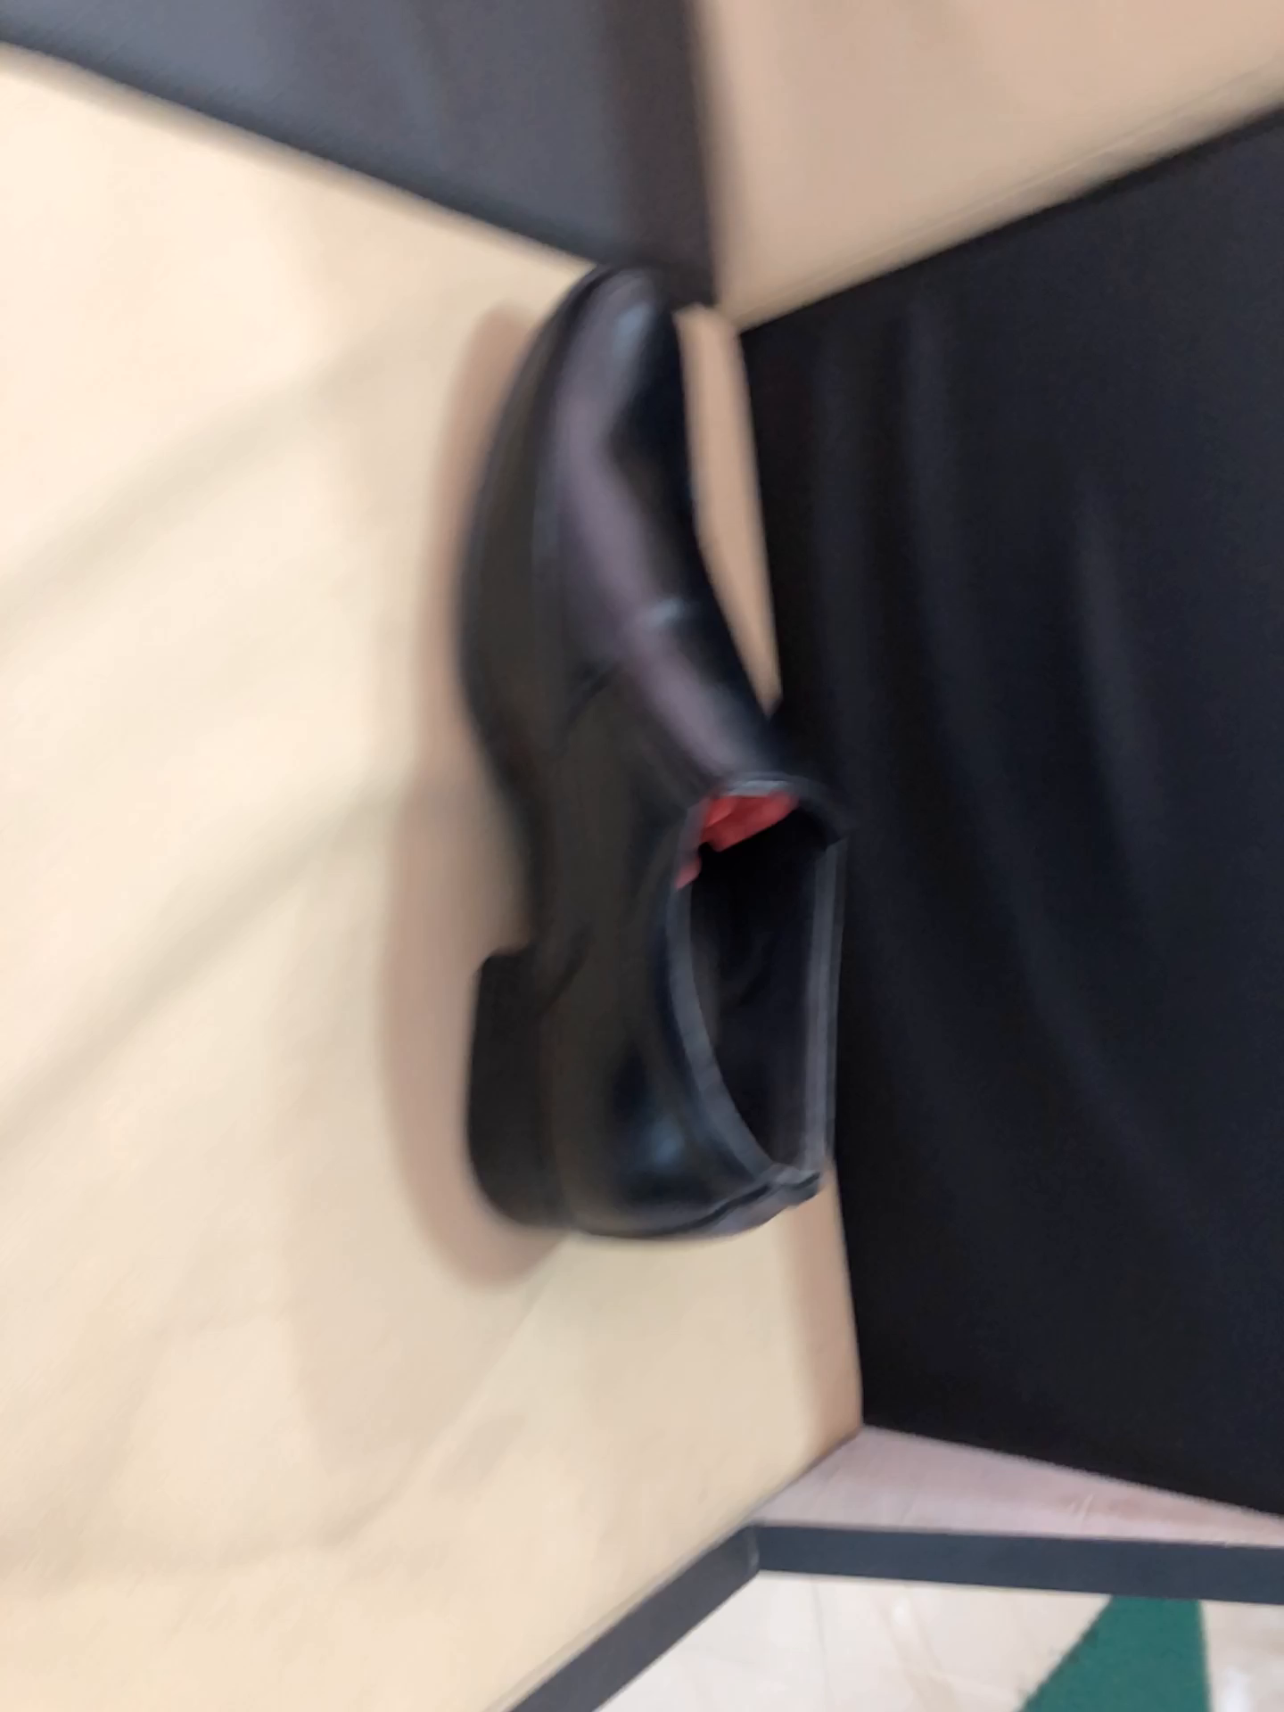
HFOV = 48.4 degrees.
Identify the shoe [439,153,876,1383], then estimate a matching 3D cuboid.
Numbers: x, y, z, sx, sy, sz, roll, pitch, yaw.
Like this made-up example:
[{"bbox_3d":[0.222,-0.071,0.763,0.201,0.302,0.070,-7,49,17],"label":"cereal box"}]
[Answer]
[{"bbox_3d":[0.006,-0.023,0.430,0.101,0.079,0.320,8,80,-49],"label":"shoe"}]
